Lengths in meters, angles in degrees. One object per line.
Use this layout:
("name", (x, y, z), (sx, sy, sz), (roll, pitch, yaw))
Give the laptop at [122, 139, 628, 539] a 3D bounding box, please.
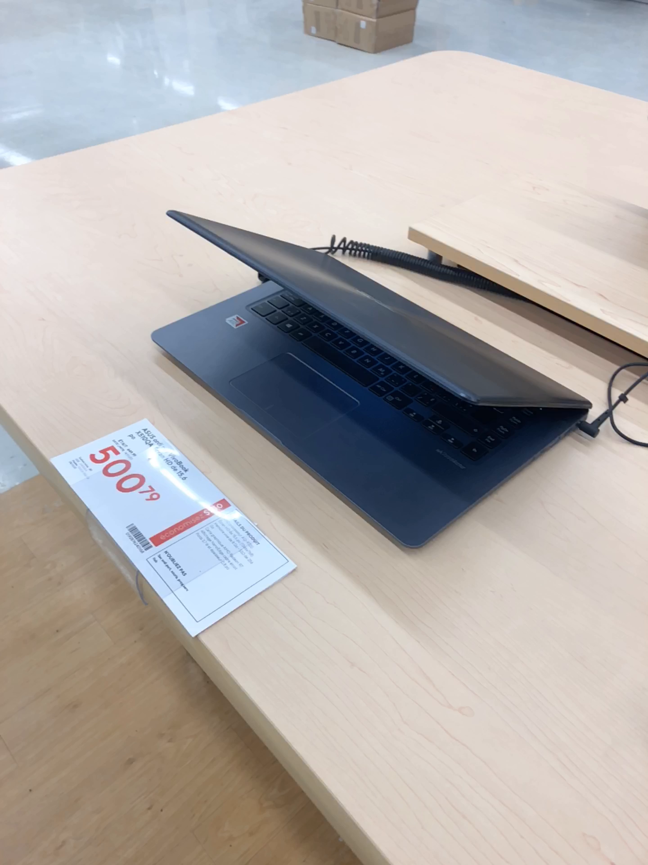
("laptop", (0.031, -0.111, 0.631), (0.232, 0.136, 0.345), (-32, 53, -31))
